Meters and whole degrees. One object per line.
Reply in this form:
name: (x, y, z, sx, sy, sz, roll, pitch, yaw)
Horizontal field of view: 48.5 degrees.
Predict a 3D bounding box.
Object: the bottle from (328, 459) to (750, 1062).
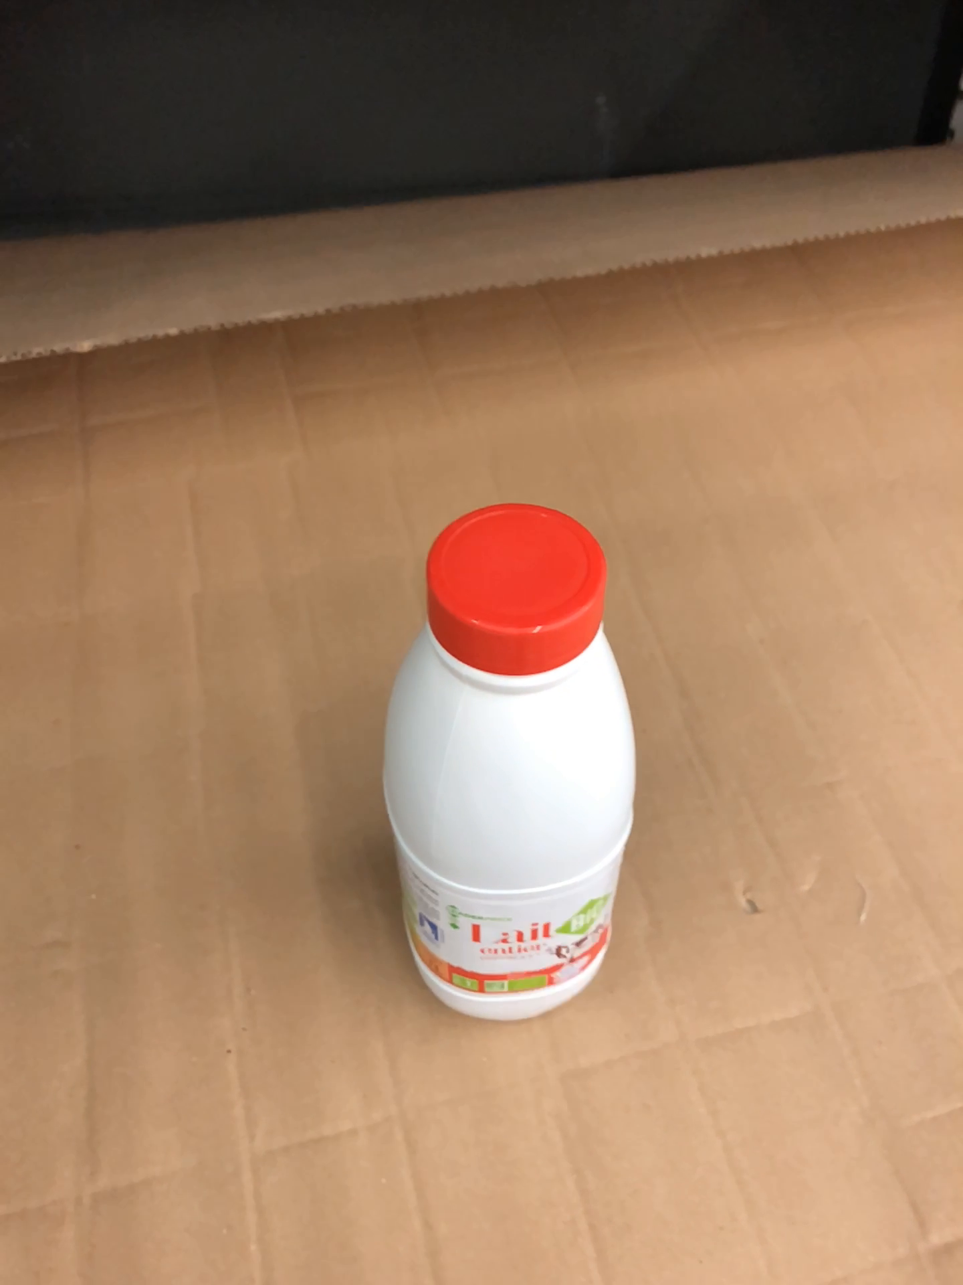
bottle: (0.011, 0.057, 0.368, 0.090, 0.229, 0.080, -12, 53, -10)
